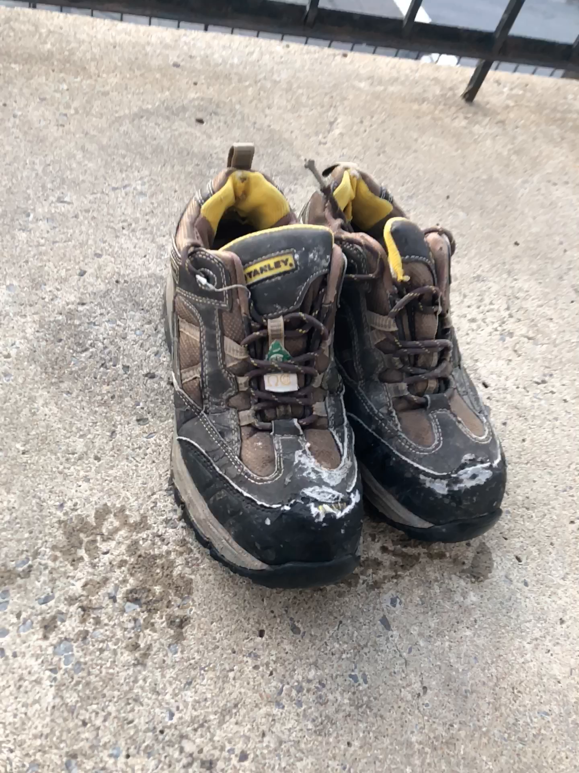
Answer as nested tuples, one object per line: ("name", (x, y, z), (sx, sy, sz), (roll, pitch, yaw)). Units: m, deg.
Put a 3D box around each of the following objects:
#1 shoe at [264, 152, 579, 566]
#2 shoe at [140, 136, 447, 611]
("shoe", (0.084, -0.022, 0.458), (0.120, 0.169, 0.231), (-4, 56, -21))
("shoe", (-0.023, -0.015, 0.404), (0.100, 0.149, 0.251), (-4, 56, -20))
